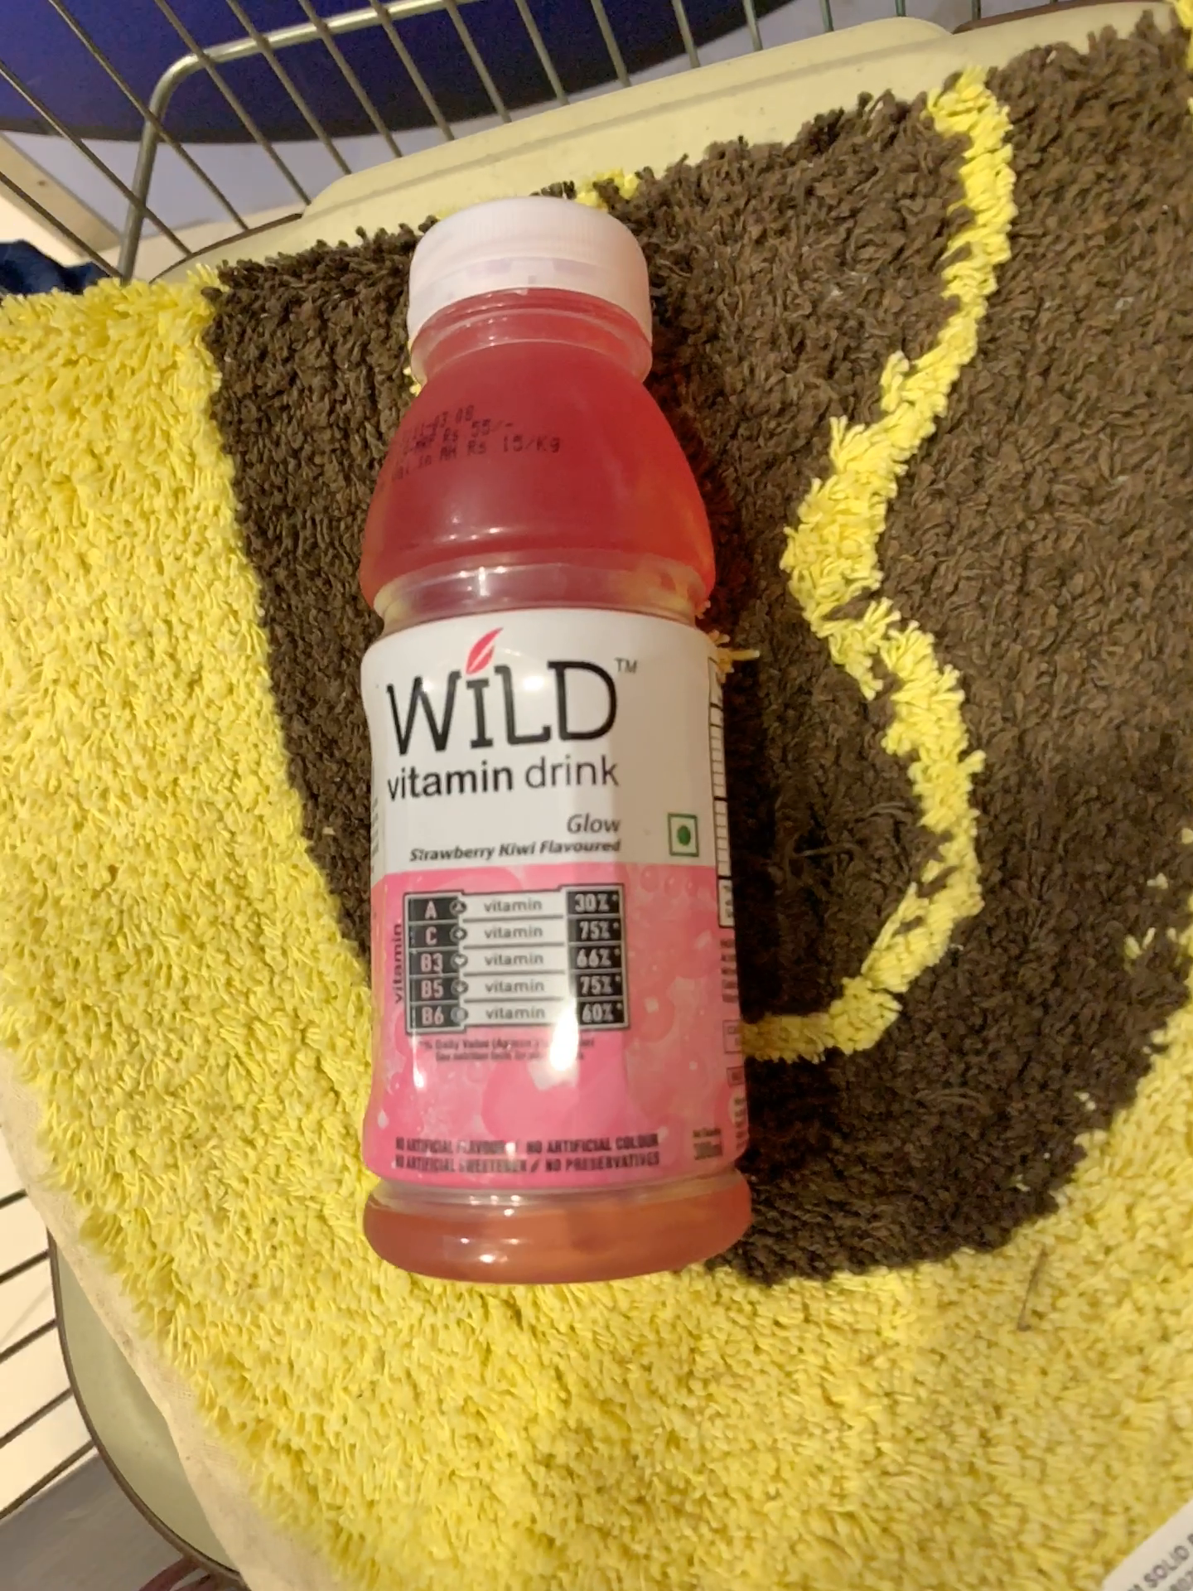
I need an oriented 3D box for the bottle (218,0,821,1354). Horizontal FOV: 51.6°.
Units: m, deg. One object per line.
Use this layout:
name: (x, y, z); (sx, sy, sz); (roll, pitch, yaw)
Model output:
bottle: (-0.008, -0.013, 0.178); (0.060, 0.050, 0.160); (-5, 89, 19)
